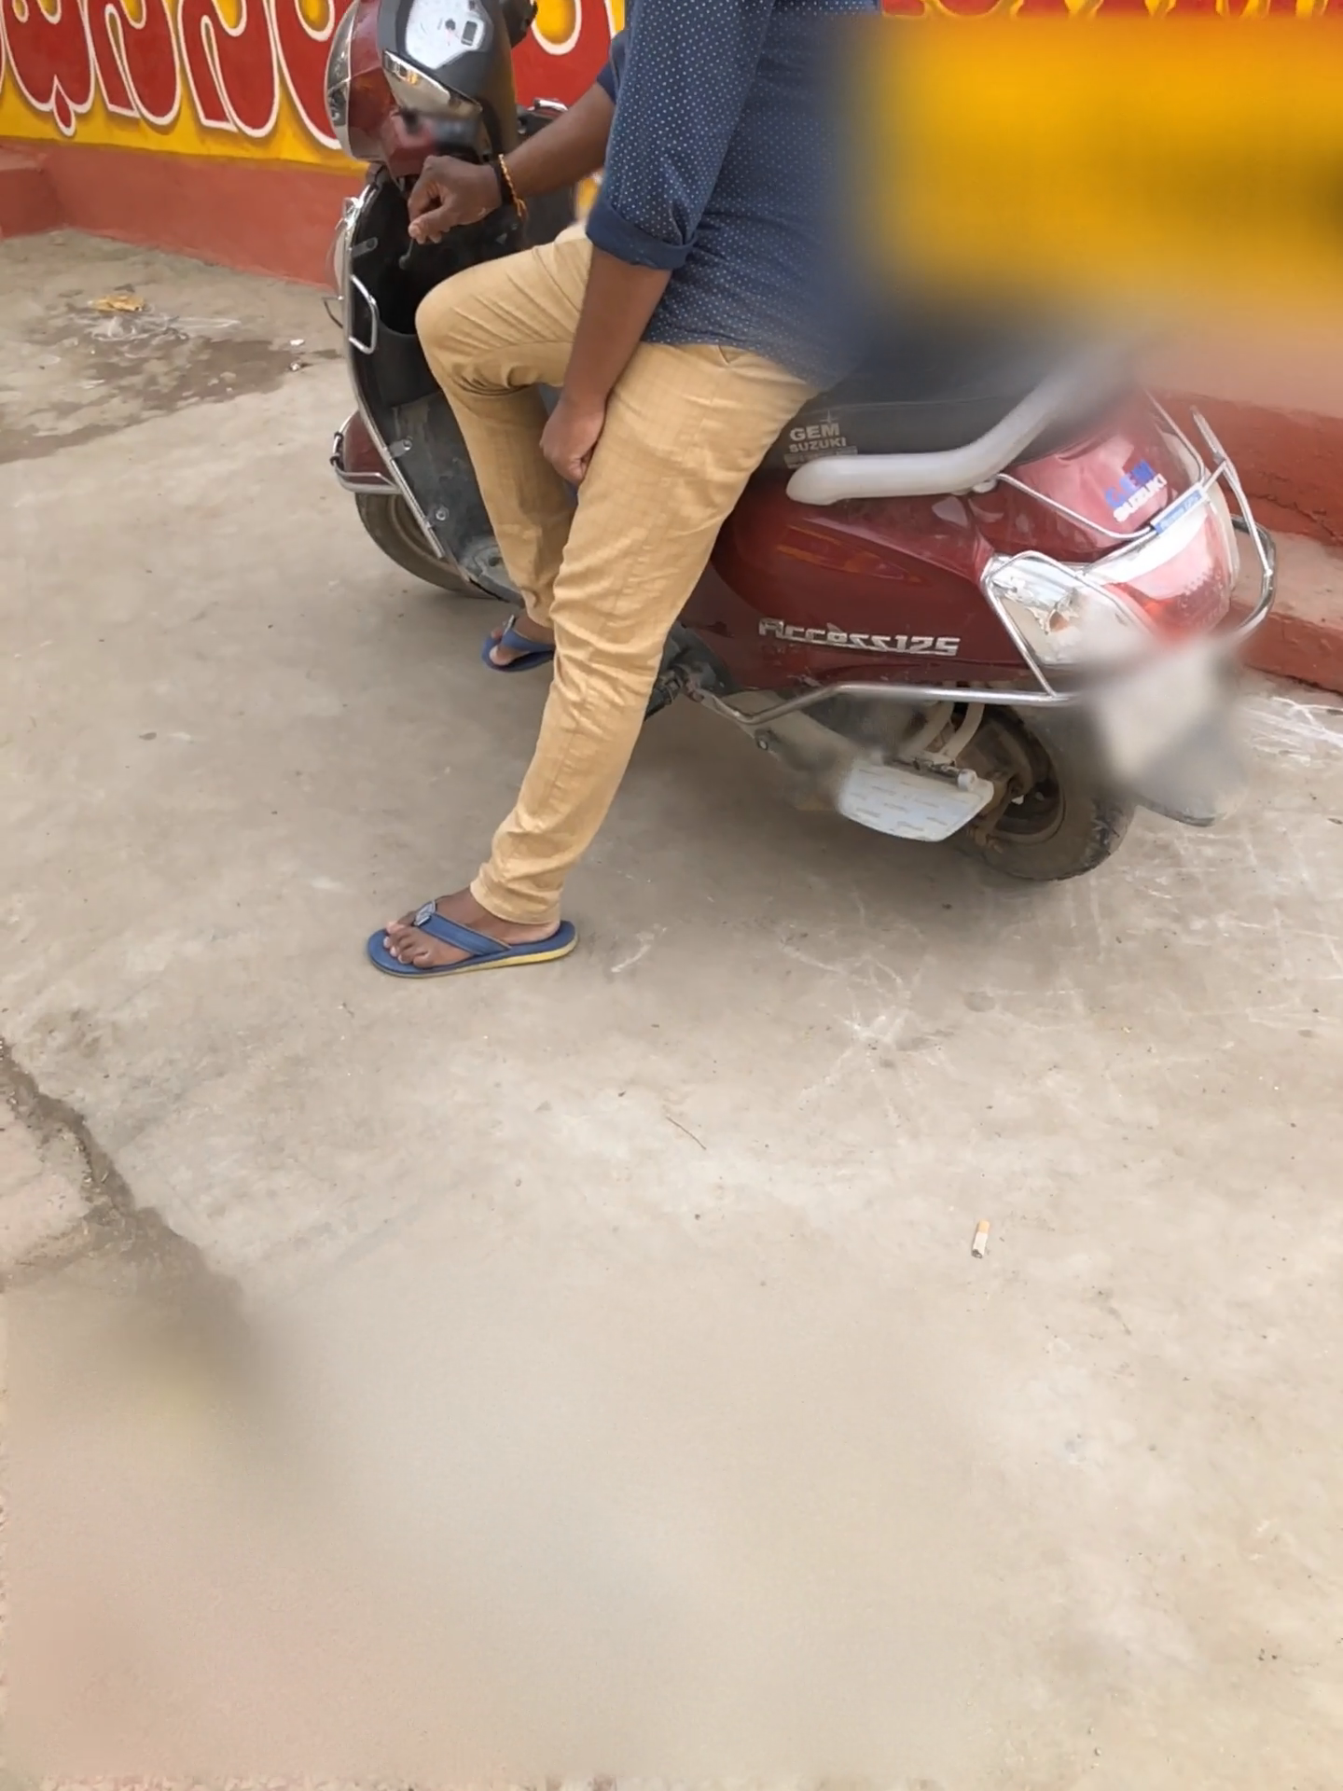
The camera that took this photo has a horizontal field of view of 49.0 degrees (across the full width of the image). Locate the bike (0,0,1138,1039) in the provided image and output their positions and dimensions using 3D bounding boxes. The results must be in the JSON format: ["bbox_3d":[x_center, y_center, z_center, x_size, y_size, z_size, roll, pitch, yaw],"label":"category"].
[{"bbox_3d":[-0.261,-0.657,2.008,1.377,1.087,0.632,26,43,33],"label":"bike"}]
